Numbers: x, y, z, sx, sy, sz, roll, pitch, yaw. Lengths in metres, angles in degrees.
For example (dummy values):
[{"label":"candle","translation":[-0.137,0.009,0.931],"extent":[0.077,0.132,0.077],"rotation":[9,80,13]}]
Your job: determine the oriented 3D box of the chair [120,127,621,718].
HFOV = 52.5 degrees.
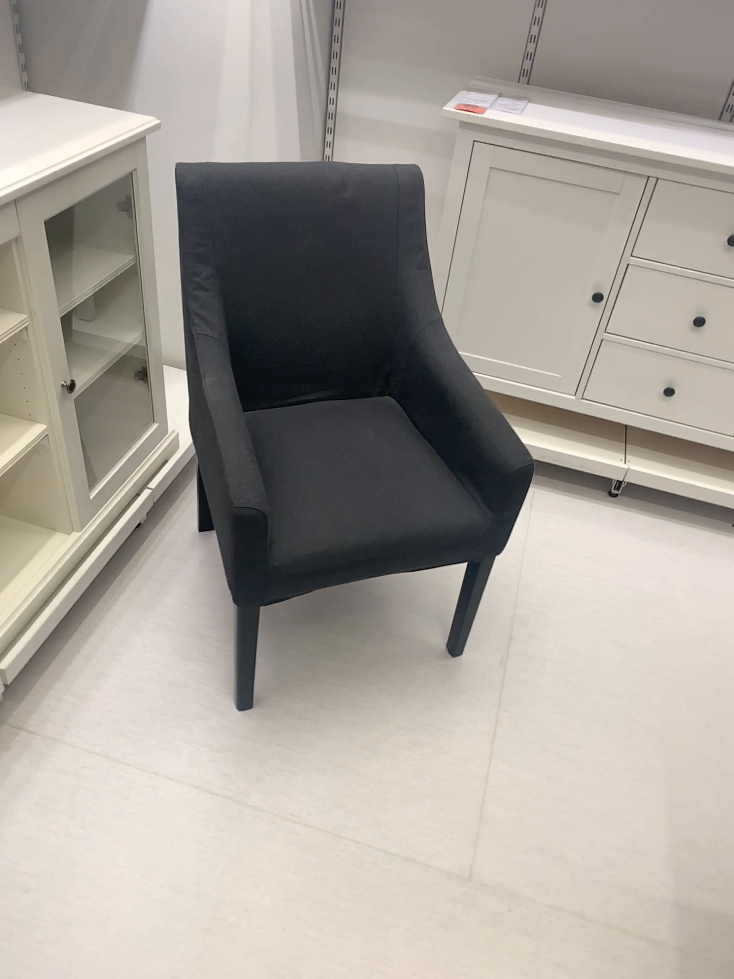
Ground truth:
[{"label":"chair","translation":[-0.081,-0.141,1.528],"extent":[0.661,0.946,0.612],"rotation":[-9,42,-20]}]
